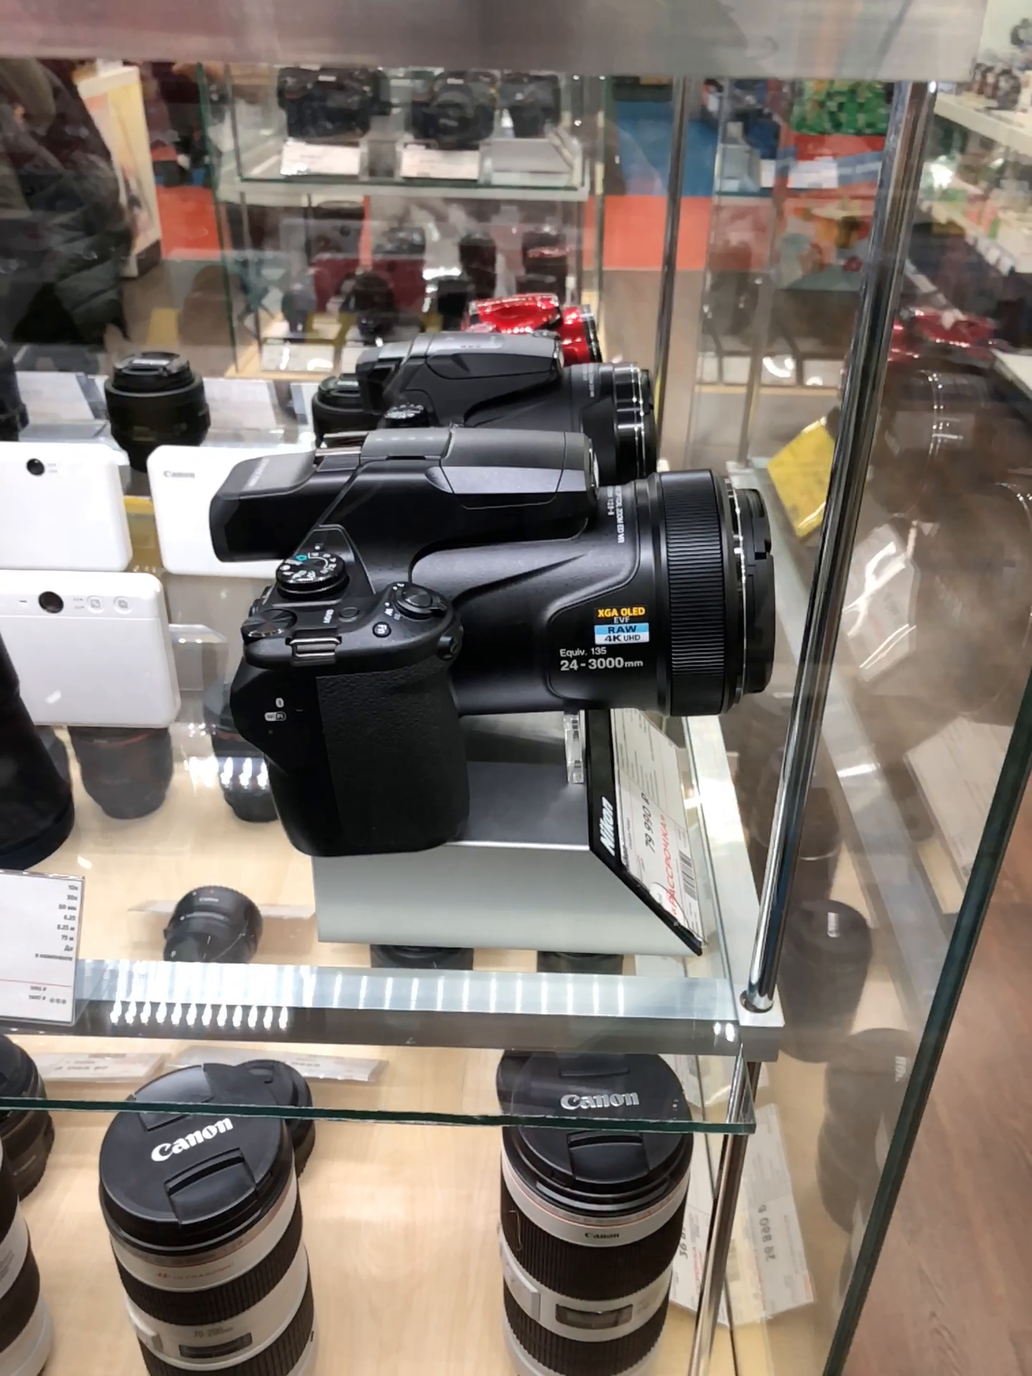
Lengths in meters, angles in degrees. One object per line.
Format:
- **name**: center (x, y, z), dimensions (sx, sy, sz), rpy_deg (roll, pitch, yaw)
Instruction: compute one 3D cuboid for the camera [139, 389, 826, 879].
- **camera**: center (-0.008, -0.029, 0.429), dimensions (0.200, 0.113, 0.161), rpy_deg (2, 32, 1)
